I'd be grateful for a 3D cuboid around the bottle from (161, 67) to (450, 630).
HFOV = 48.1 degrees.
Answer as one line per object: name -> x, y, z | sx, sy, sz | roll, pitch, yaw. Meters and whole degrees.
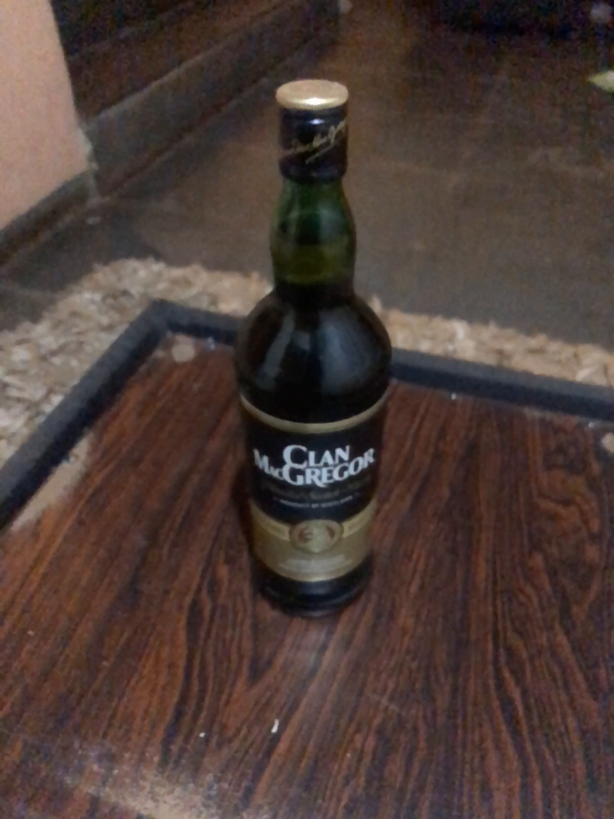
bottle -> 0.001, -0.007, 0.378 | 0.100, 0.308, 0.101 | 0, 42, 0
